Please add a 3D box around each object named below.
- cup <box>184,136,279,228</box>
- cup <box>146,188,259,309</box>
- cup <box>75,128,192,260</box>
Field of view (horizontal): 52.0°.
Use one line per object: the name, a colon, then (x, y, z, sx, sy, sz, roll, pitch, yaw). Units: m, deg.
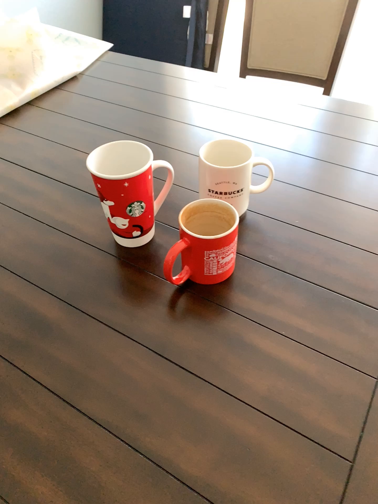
cup: (0.065, -0.116, 0.650, 0.140, 0.110, 0.100, -1, 47, 2)
cup: (0.020, -0.007, 0.543, 0.120, 0.090, 0.090, -34, 54, -26)
cup: (-0.080, -0.088, 0.593, 0.140, 0.139, 0.100, -16, 48, -12)
